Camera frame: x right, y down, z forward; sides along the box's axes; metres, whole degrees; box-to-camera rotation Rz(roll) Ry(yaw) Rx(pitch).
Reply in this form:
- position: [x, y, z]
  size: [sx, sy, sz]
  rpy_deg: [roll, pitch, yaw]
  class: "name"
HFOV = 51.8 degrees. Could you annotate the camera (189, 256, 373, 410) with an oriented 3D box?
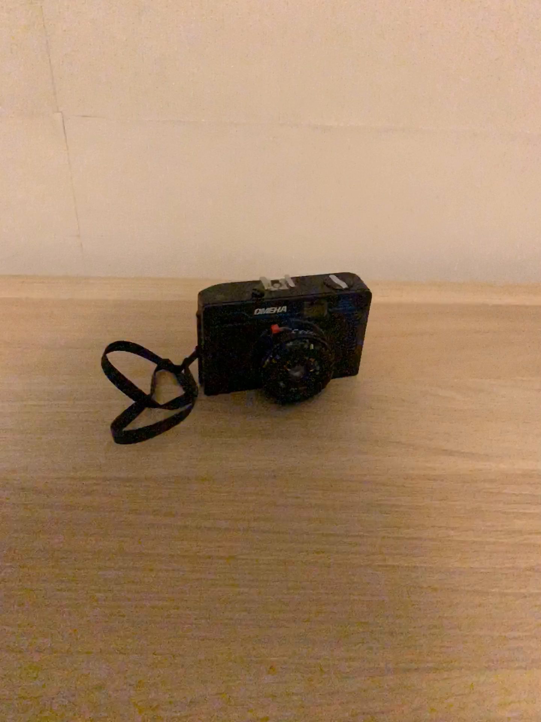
- position: [0.003, -0.019, 0.378]
  size: [0.110, 0.089, 0.040]
  rpy_deg: [-5, 39, -12]
  class: "camera"
